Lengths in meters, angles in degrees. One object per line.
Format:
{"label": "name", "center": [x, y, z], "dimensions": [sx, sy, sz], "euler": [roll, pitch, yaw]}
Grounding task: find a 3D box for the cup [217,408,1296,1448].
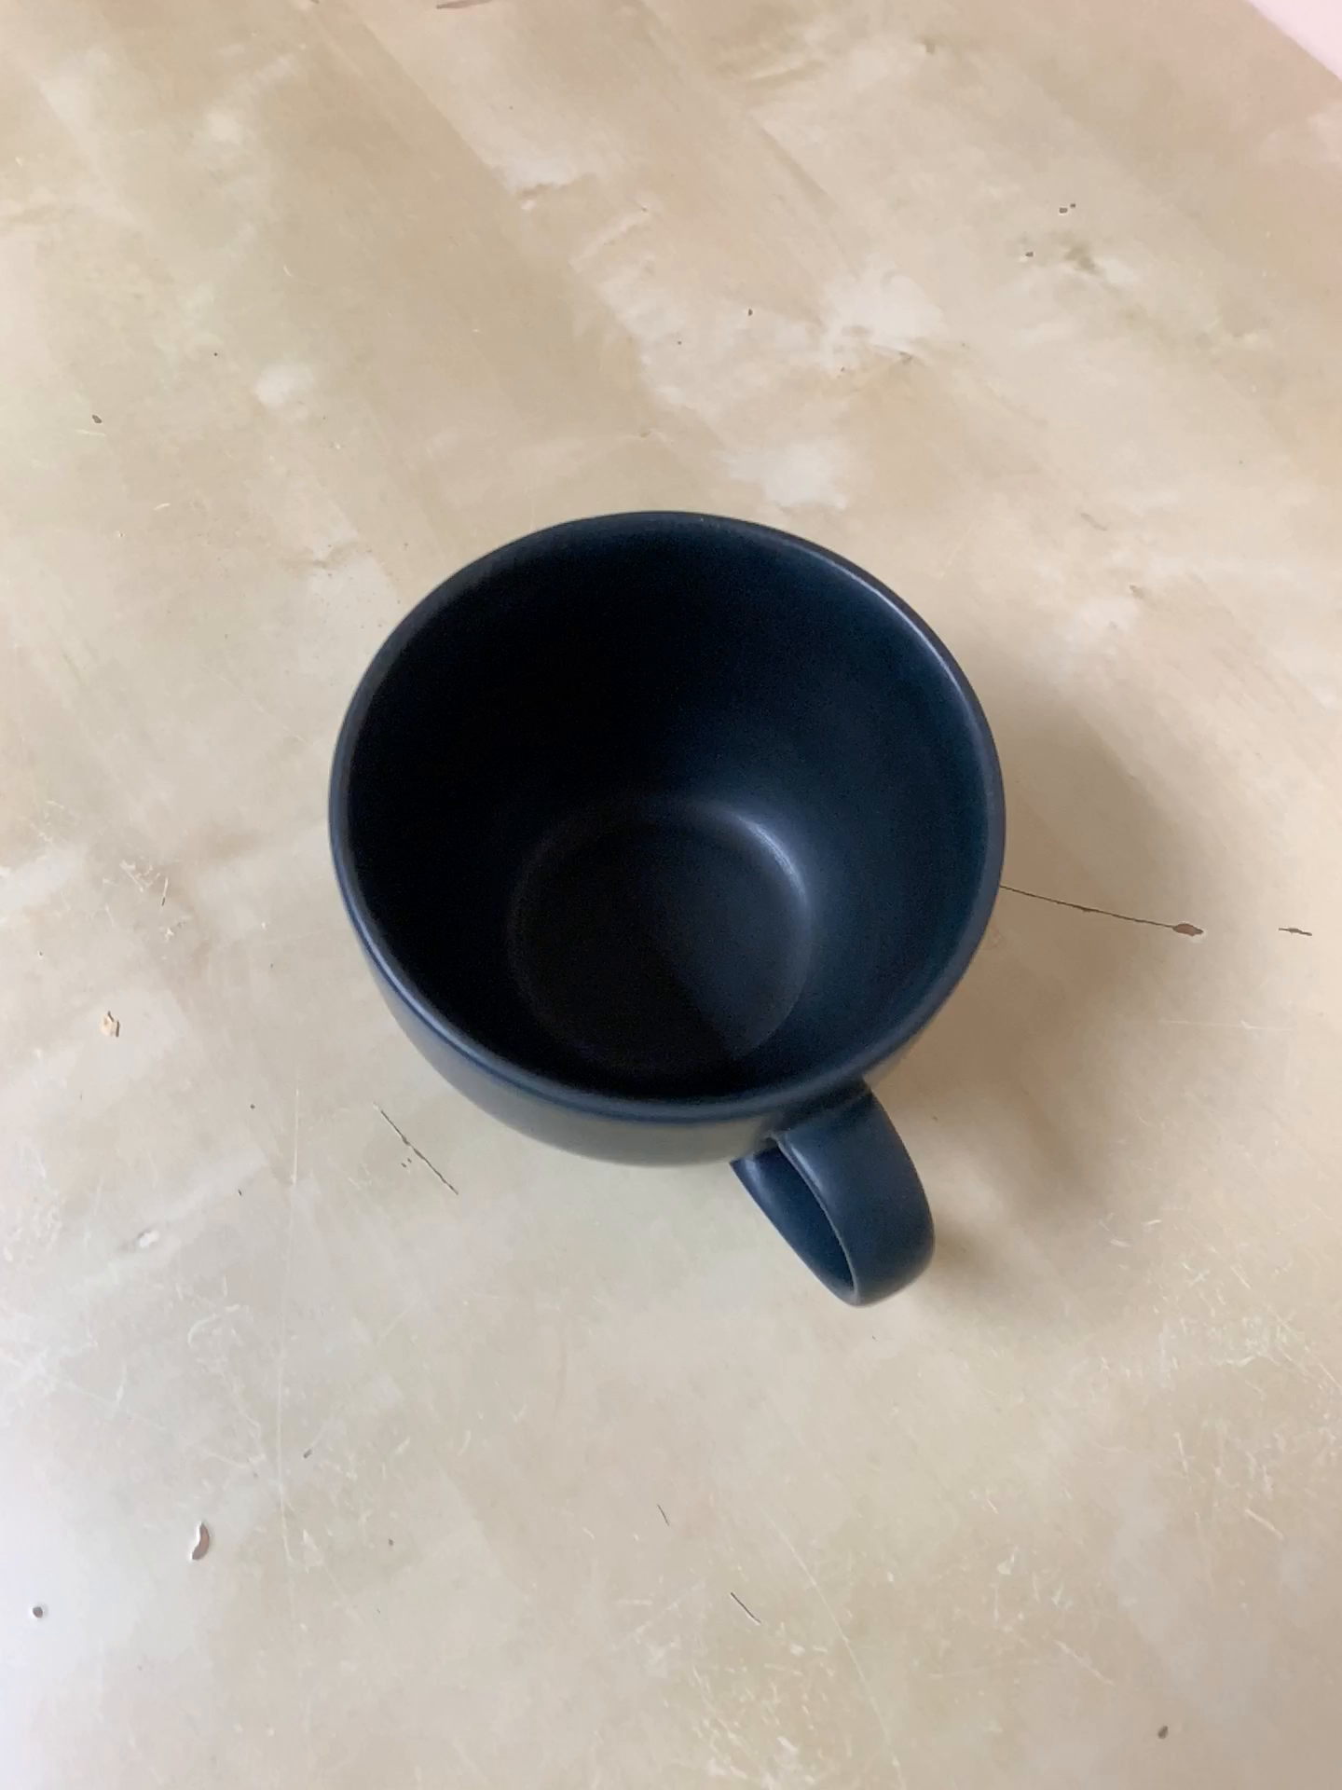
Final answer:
{"label": "cup", "center": [0.011, 0.003, 0.287], "dimensions": [0.135, 0.068, 0.158], "euler": [-30, 72, -14]}
